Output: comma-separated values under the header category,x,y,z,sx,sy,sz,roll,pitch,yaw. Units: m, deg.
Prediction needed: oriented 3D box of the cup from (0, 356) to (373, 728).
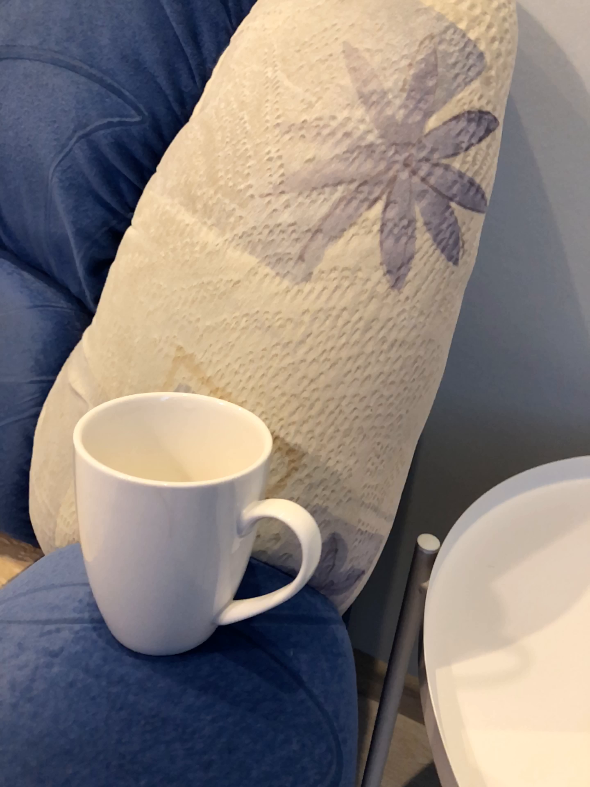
category,x,y,z,sx,sy,sz,roll,pitch,yaw
cup,-0.038,0.048,0.249,0.110,0.079,0.081,13,29,15
